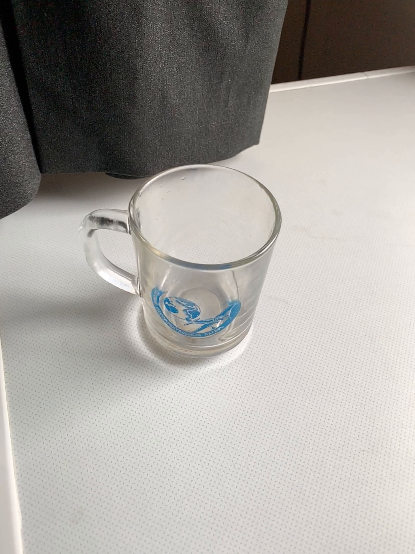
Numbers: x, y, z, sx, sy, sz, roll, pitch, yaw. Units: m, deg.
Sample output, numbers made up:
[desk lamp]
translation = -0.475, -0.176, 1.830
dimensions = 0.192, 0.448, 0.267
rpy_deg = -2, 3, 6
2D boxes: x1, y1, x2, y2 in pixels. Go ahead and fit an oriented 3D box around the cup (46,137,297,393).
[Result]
[cup]
translation = -0.014, -0.004, 0.222
dimensions = 0.090, 0.089, 0.071
rpy_deg = 15, 51, 8
